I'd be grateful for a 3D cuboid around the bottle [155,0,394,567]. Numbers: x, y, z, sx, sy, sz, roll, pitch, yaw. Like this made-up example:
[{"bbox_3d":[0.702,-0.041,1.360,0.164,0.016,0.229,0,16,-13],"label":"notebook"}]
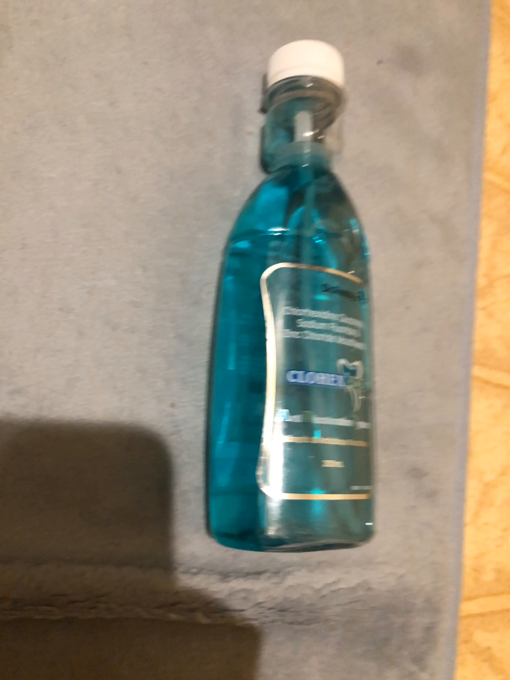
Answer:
[{"bbox_3d":[0.010,-0.034,0.211,0.070,0.040,0.210,8,78,-32],"label":"bottle"}]
